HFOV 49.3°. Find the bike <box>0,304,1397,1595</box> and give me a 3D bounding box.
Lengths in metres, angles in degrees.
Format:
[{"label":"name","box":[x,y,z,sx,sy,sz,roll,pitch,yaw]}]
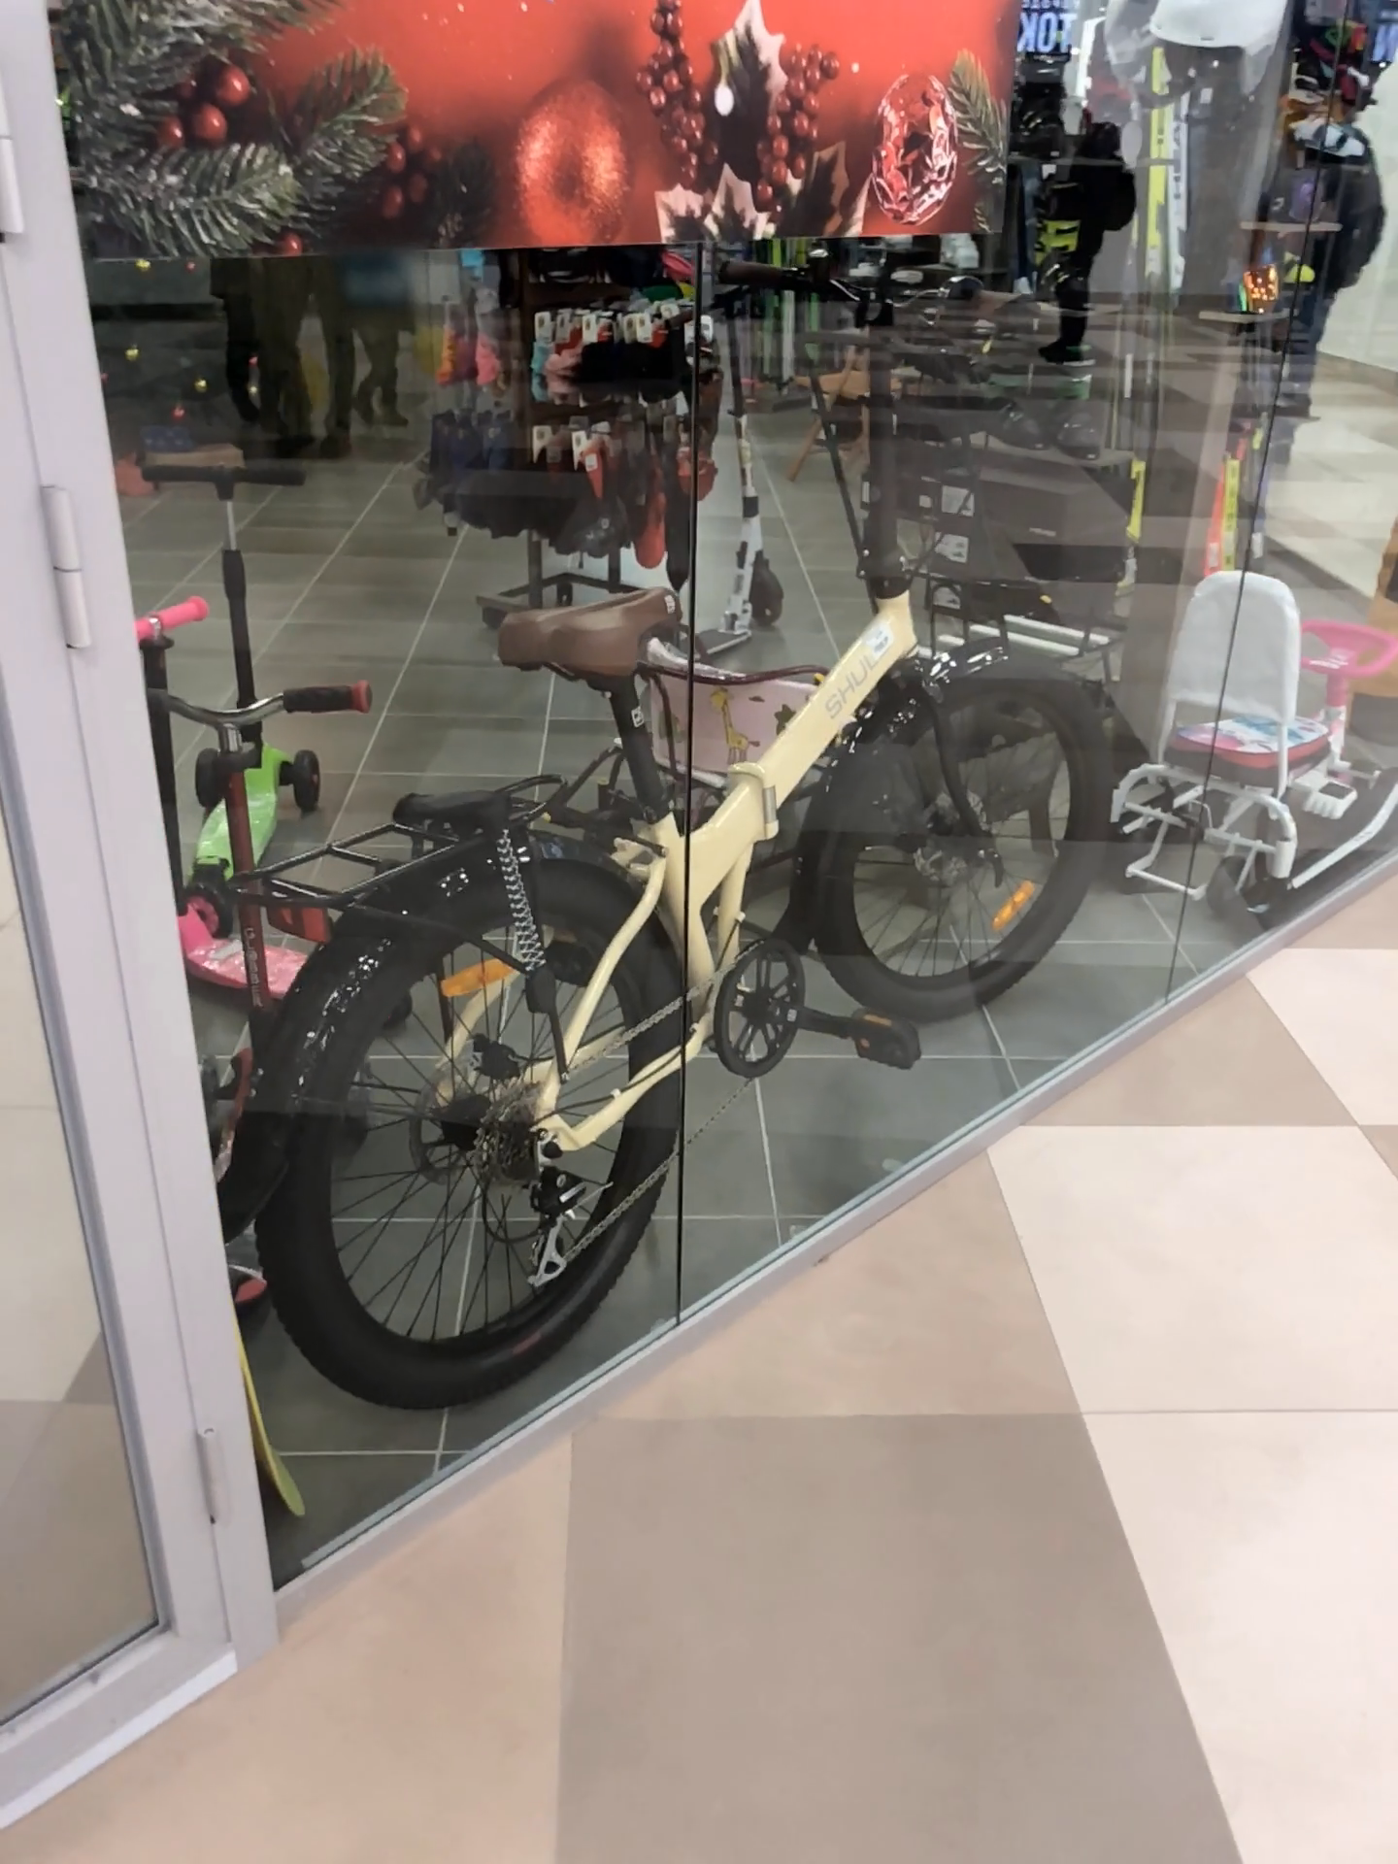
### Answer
[{"label":"bike","box":[0.205,-0.177,2.026,0.594,1.175,1.707,21,31,35]}]
